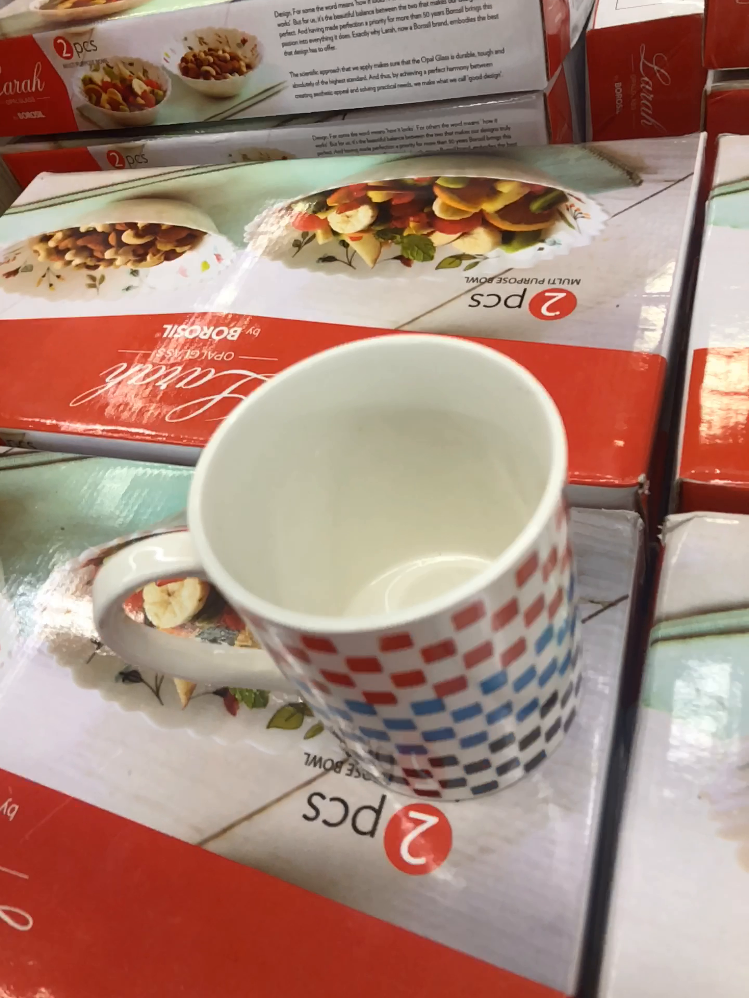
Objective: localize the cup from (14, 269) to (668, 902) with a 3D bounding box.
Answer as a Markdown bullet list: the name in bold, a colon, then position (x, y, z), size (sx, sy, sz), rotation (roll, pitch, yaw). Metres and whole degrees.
- **cup**: position (-0.007, 0.023, 0.206), size (0.120, 0.089, 0.091), rotation (-19, 48, 0)
